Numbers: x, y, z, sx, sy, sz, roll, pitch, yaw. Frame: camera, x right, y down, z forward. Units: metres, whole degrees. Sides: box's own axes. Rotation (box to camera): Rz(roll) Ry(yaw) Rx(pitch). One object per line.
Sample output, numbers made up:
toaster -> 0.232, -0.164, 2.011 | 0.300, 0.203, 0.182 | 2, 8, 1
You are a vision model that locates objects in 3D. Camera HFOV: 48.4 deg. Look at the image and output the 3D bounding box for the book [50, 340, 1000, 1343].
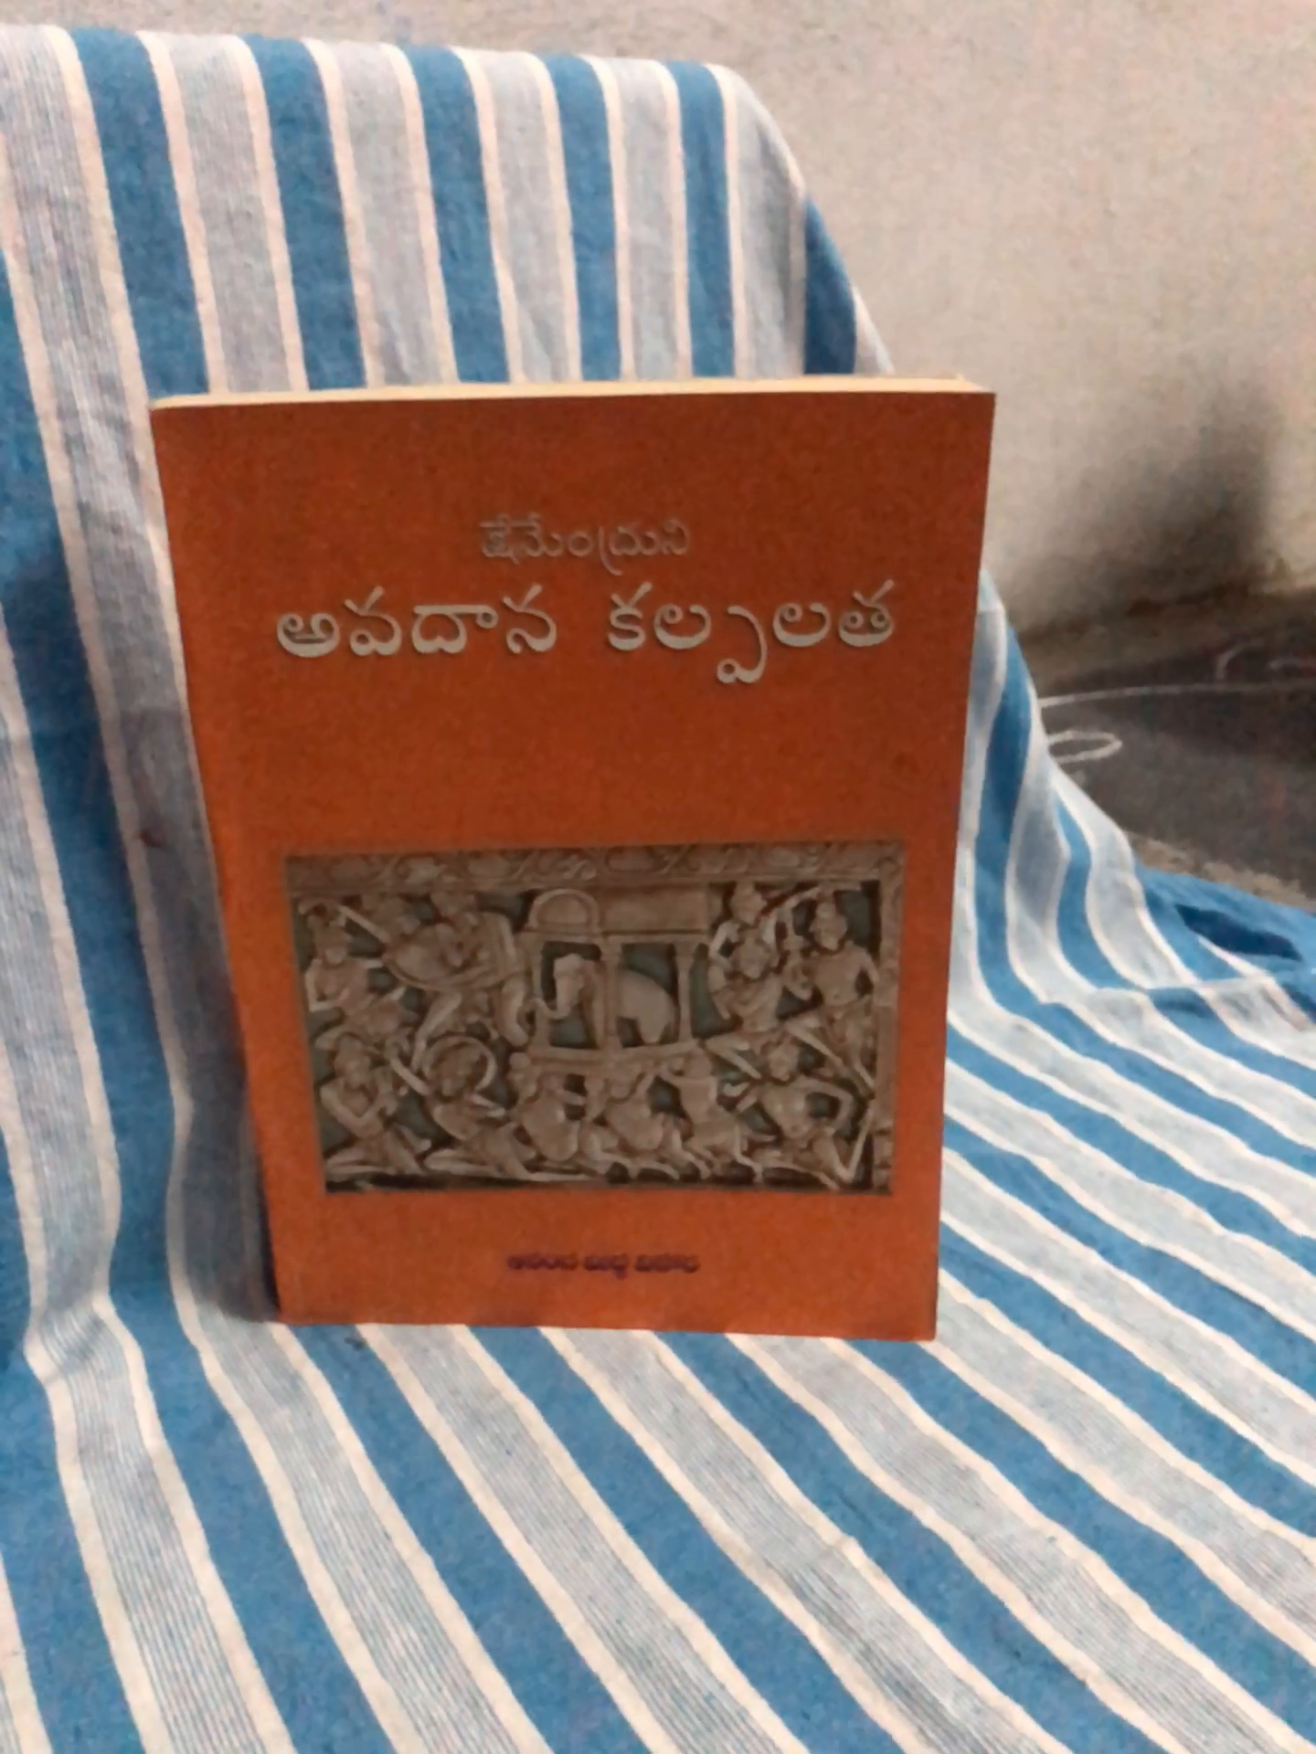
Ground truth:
book -> -0.024, 0.001, 0.333 | 0.180, 0.229, 0.030 | 0, 22, 2
